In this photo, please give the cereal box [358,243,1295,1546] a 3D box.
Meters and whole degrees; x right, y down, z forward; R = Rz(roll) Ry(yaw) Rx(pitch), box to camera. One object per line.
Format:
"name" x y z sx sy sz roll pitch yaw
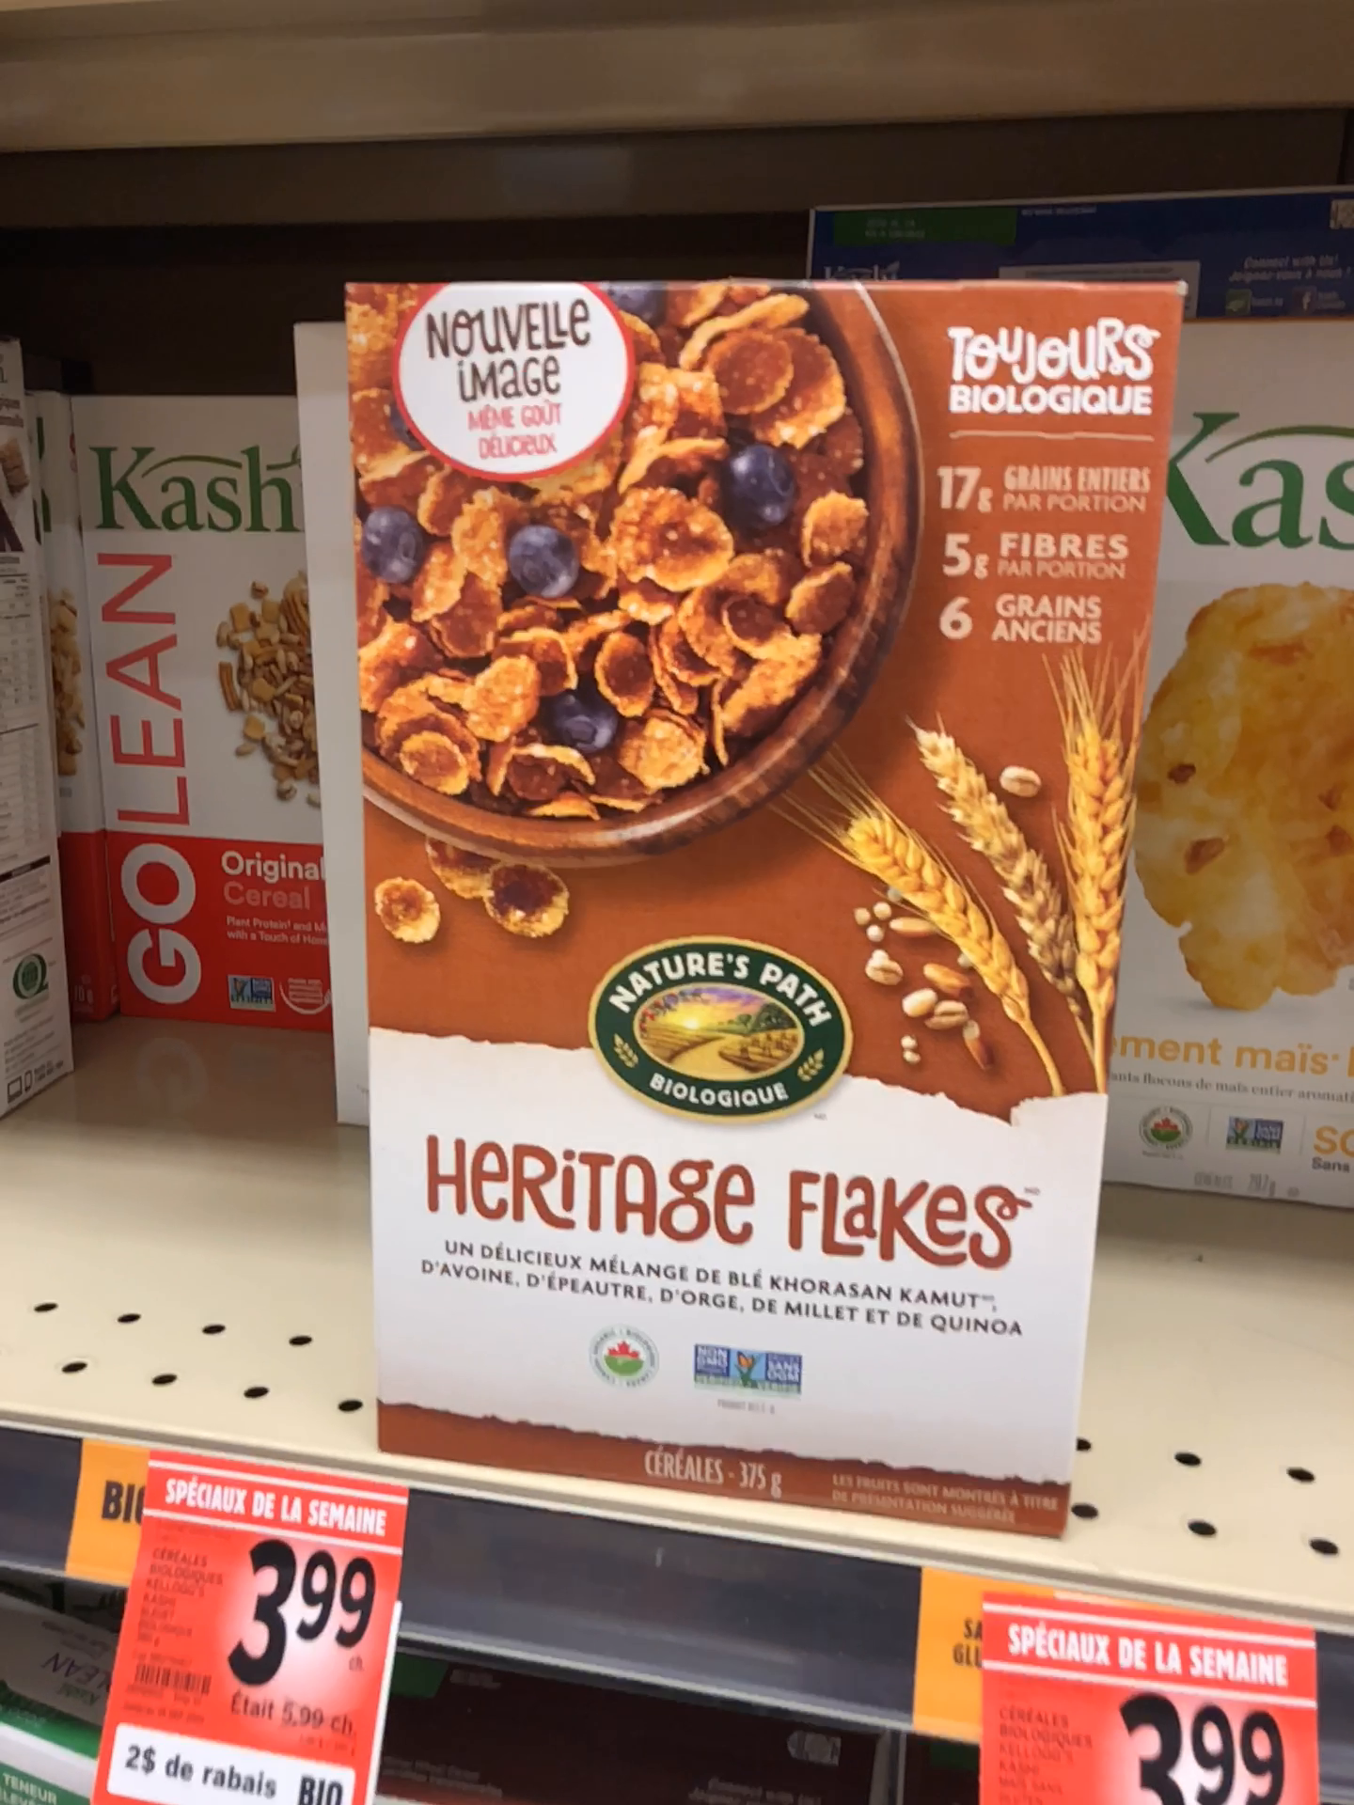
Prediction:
"cereal box" 0.027 -0.002 0.336 0.170 0.259 0.070 3 15 11
